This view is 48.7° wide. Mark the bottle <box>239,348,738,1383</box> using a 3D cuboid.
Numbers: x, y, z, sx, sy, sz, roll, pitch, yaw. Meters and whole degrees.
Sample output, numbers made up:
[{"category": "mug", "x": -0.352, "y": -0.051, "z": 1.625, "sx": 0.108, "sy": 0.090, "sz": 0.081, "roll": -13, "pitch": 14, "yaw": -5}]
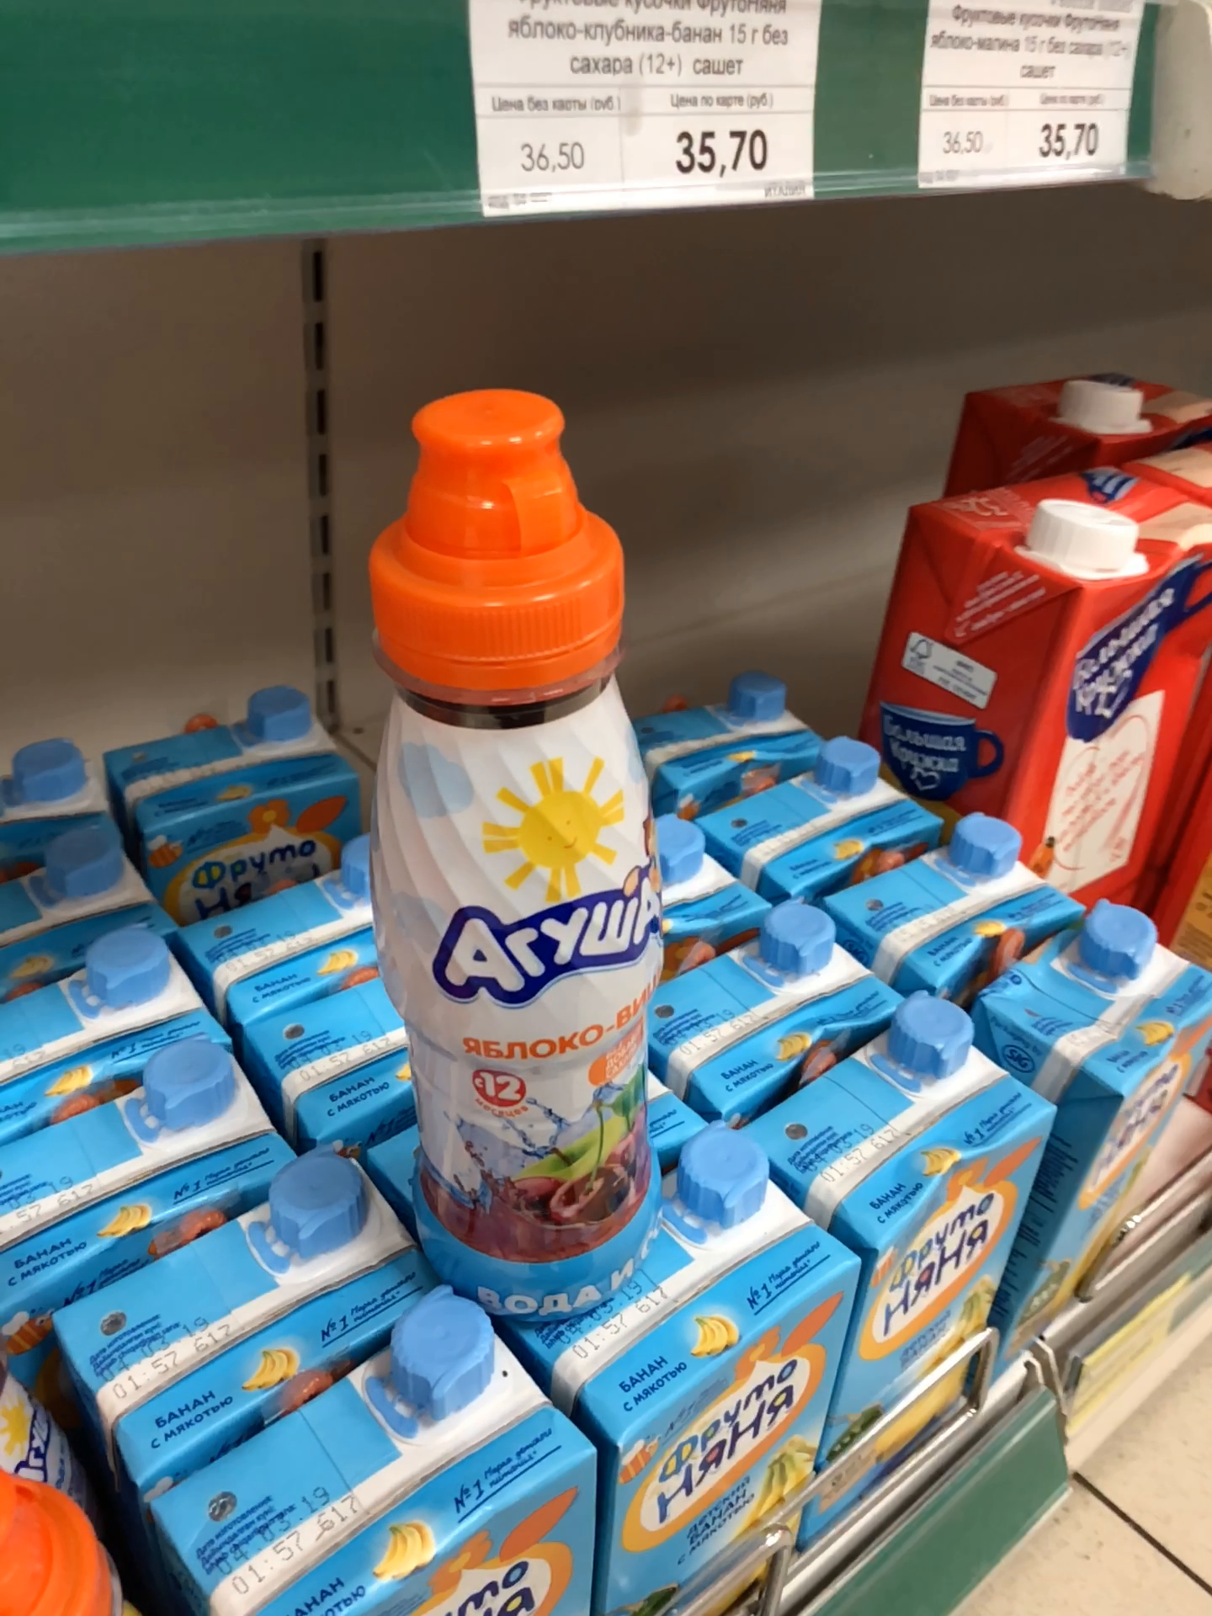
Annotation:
[{"category": "bottle", "x": -0.017, "y": 0.019, "z": 0.260, "sx": 0.054, "sy": 0.190, "sz": 0.056, "roll": -1, "pitch": 34, "yaw": 1}]
